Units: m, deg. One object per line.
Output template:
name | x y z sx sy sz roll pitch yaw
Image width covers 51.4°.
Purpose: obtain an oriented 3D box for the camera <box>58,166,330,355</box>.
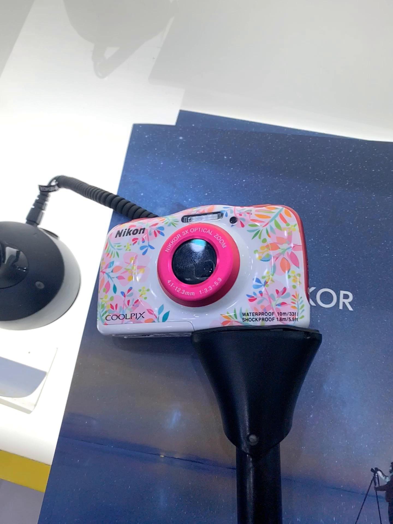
camera | 0.000 0.001 0.200 0.110 0.040 0.080 -1 64 6
